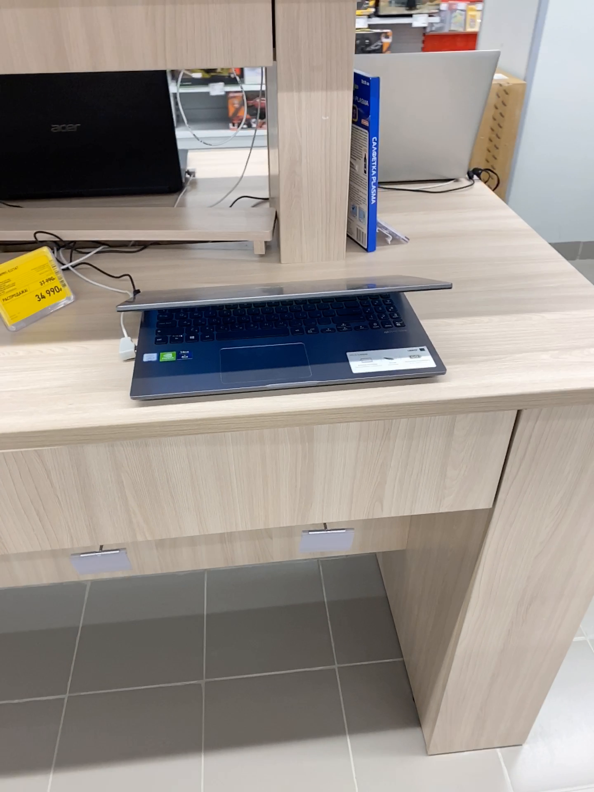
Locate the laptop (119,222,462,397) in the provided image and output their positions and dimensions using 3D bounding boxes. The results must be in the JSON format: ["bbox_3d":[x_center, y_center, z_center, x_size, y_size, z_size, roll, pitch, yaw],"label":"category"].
[{"bbox_3d":[-0.017,-0.118,0.737,0.352,0.088,0.237,-4,37,-7],"label":"laptop"}]
